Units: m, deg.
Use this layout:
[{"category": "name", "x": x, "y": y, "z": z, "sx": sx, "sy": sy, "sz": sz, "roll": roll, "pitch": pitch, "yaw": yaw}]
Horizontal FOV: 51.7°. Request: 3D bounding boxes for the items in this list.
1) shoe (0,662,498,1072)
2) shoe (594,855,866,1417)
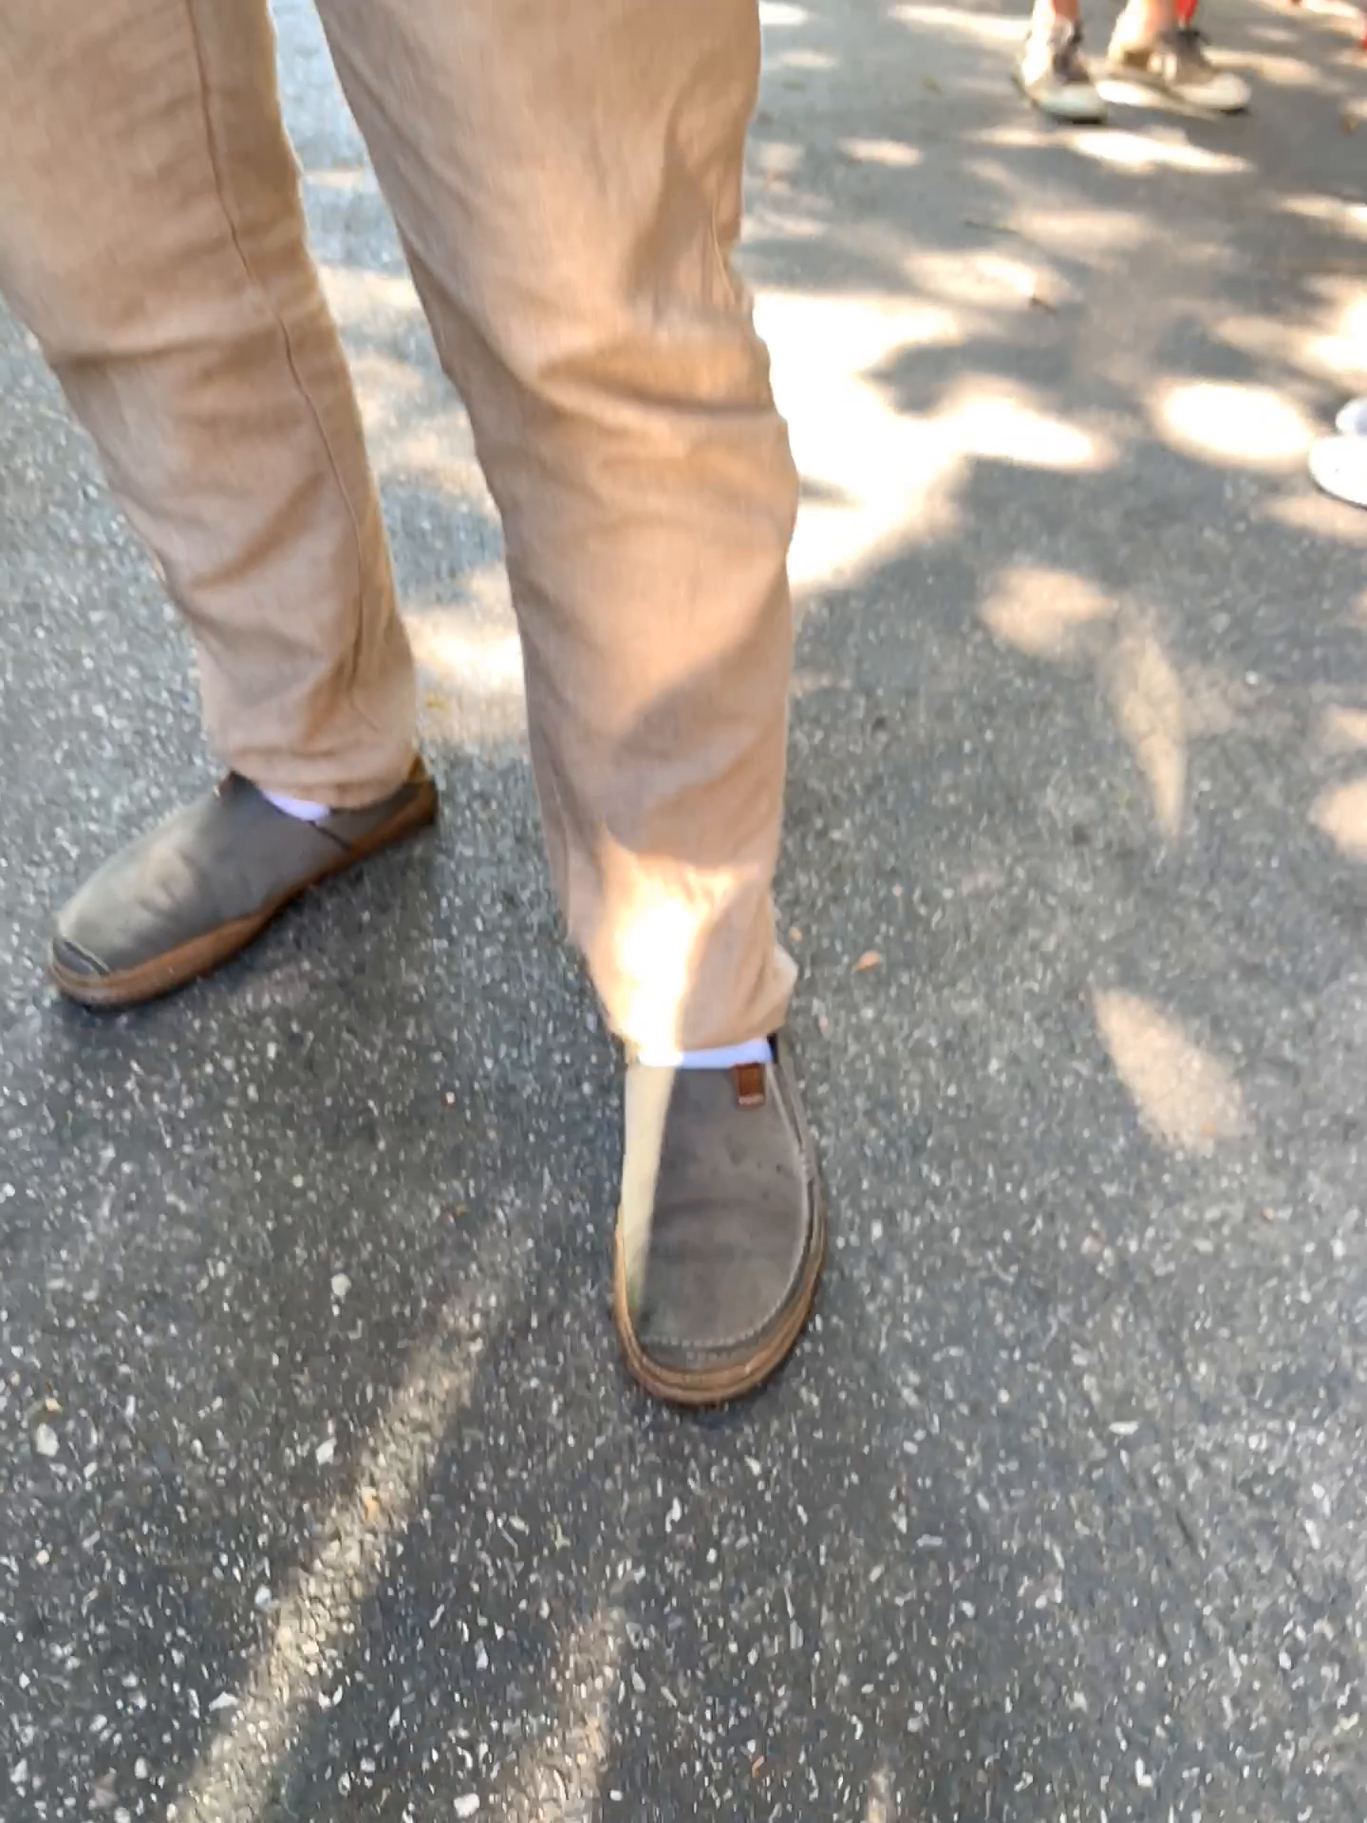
[{"category": "shoe", "x": -0.276, "y": -0.043, "z": 0.917, "sx": 0.120, "sy": 0.060, "sz": 0.321, "roll": 29, "pitch": 51, "yaw": 24}, {"category": "shoe", "x": 0.014, "y": 0.108, "z": 0.790, "sx": 0.120, "sy": 0.080, "sz": 0.322, "roll": -1, "pitch": 45, "yaw": -4}]
